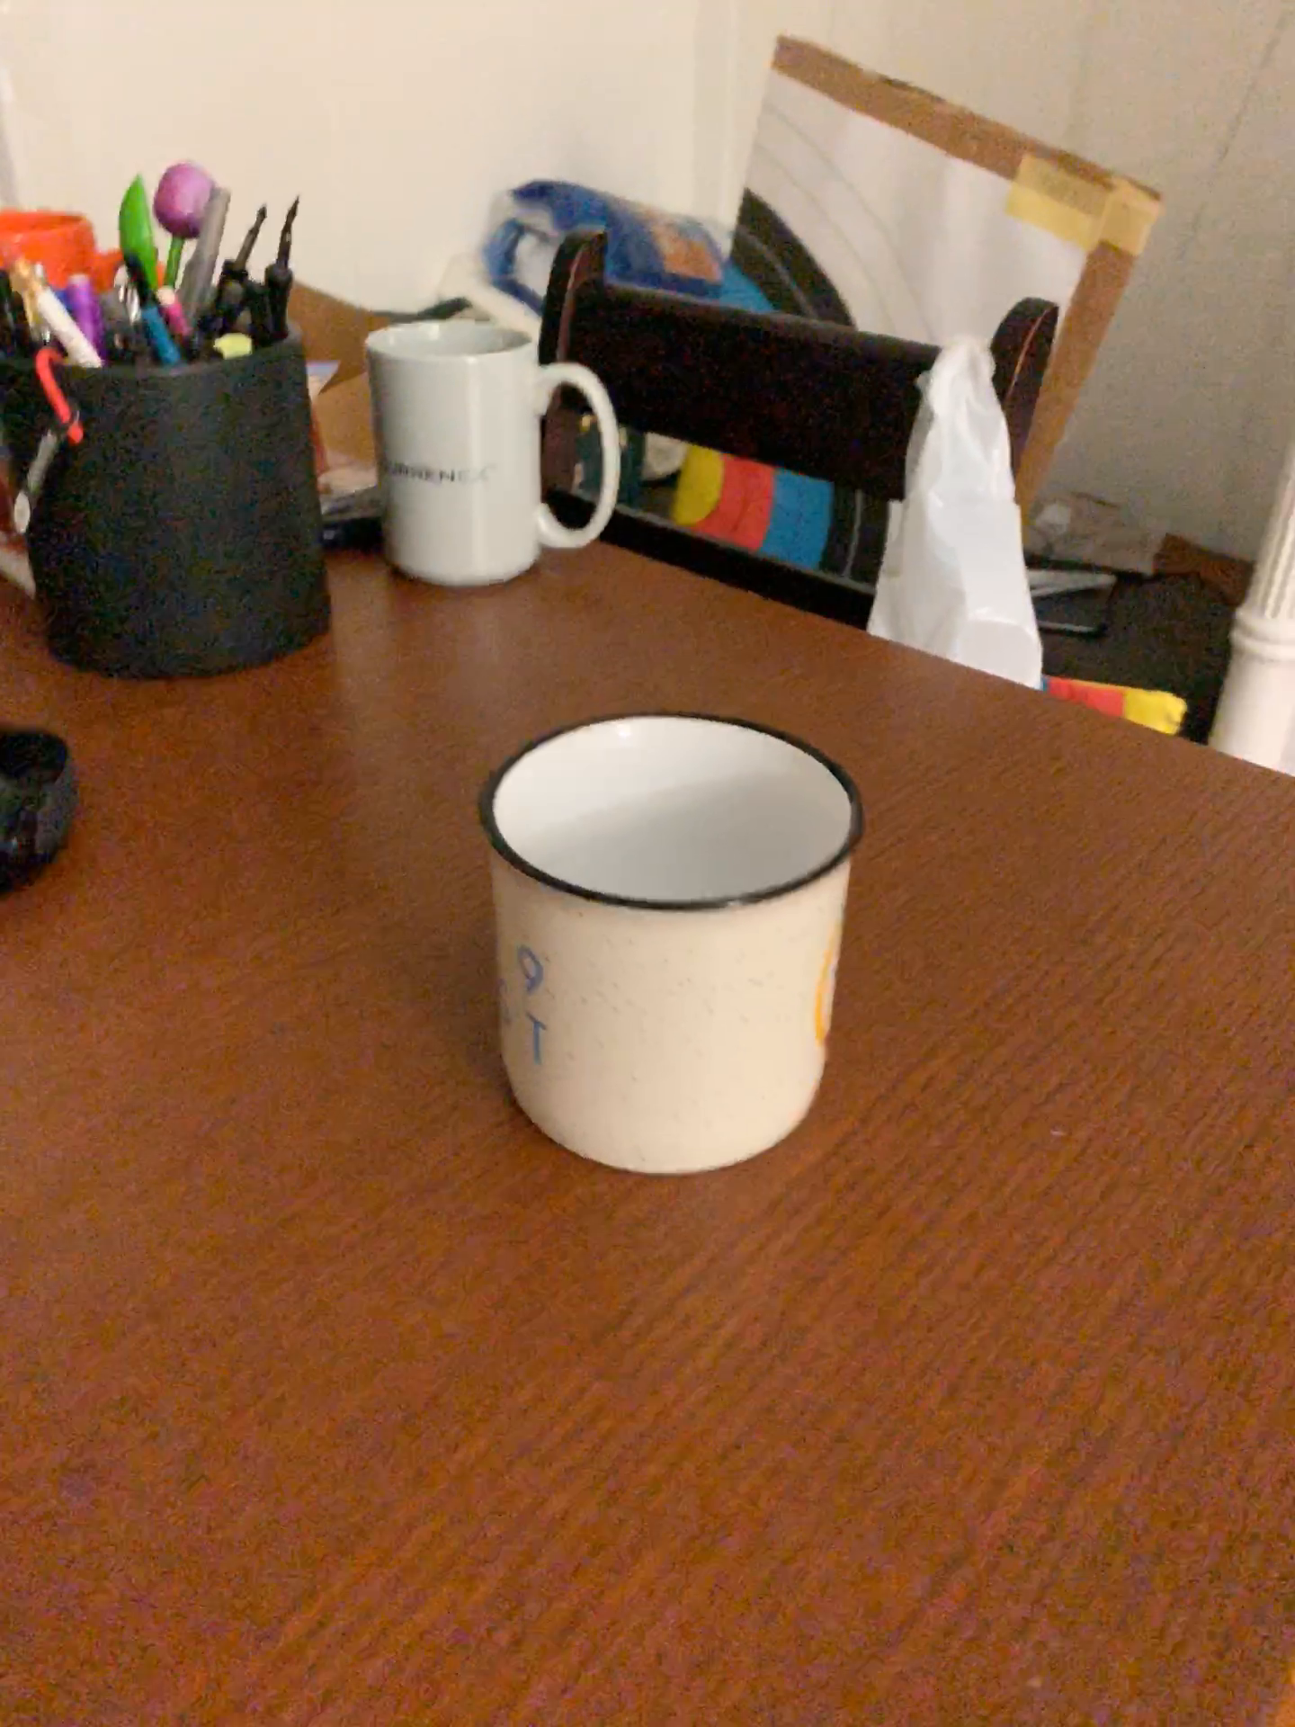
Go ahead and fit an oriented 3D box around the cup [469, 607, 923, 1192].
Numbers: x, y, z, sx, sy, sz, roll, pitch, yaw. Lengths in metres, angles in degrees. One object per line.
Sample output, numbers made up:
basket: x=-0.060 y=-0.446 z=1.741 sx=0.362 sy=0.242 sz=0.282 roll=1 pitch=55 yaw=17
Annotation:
cup: x=0.007 y=0.002 z=0.383 sx=0.100 sy=0.099 sz=0.151 roll=0 pitch=32 yaw=-3
